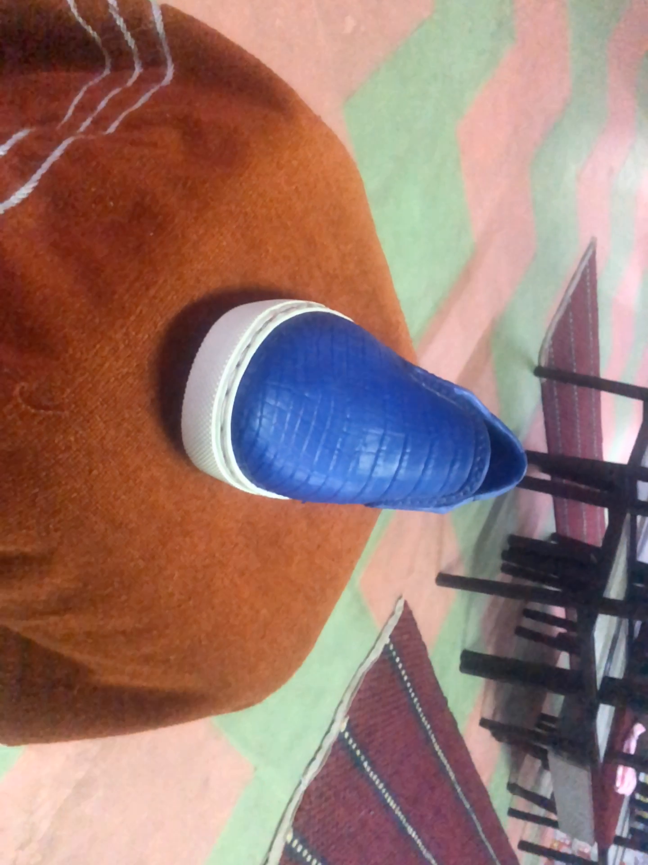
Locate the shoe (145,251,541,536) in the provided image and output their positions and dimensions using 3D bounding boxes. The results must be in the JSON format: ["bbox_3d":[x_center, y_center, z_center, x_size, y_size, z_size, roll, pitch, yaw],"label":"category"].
[{"bbox_3d":[0.042,-0.007,0.427,0.302,0.079,0.110,10,91,-59],"label":"shoe"}]
